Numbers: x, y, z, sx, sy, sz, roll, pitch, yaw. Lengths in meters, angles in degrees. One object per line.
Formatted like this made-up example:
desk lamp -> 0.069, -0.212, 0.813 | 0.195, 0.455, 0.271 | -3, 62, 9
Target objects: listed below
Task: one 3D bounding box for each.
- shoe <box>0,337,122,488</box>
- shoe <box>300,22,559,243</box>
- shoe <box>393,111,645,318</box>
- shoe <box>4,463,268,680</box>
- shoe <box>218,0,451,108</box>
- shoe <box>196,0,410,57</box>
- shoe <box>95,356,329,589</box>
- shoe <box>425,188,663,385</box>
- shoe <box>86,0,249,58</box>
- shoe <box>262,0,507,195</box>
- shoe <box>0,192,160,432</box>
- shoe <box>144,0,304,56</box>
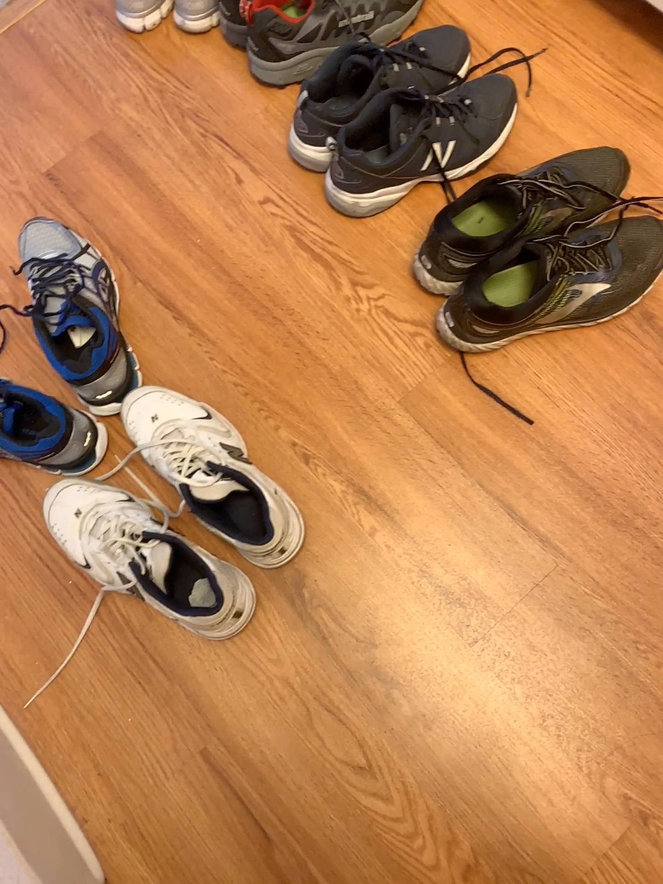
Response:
shoe -> -0.435, -0.038, 0.870 | 0.290, 0.080, 0.110 | 14, 77, 9
shoe -> 0.128, -0.413, 0.912 | 0.310, 0.100, 0.120 | -29, 74, -3
shoe -> 0.237, -0.296, 0.896 | 0.290, 0.110, 0.110 | -27, 74, -2
shoe -> -0.229, 0.156, 0.822 | 0.270, 0.130, 0.110 | 32, 80, 12
shoe -> 0.007, -0.637, 0.999 | 0.310, 0.090, 0.120 | -28, 74, -3
shoe -> -0.039, -0.719, 1.024 | 0.300, 0.090, 0.100 | -28, 74, -3
shoe -> -0.139, 0.041, 0.822 | 0.110, 0.130, 0.260 | -44, 76, -7
shoe -> 0.289, -0.195, 0.874 | 0.310, 0.110, 0.110 | -21, 74, -1
shoe -> -0.259, -0.762, 1.093 | 0.080, 0.080, 0.270 | 38, 81, 13
shoe -> 0.073, -0.499, 0.942 | 0.310, 0.100, 0.120 | -34, 75, -5
shoe -> -0.340, -0.174, 0.900 | 0.110, 0.080, 0.290 | -24, 74, -2
shoe -> -0.166, -0.756, 1.078 | 0.080, 0.080, 0.270 | 38, 81, 13
